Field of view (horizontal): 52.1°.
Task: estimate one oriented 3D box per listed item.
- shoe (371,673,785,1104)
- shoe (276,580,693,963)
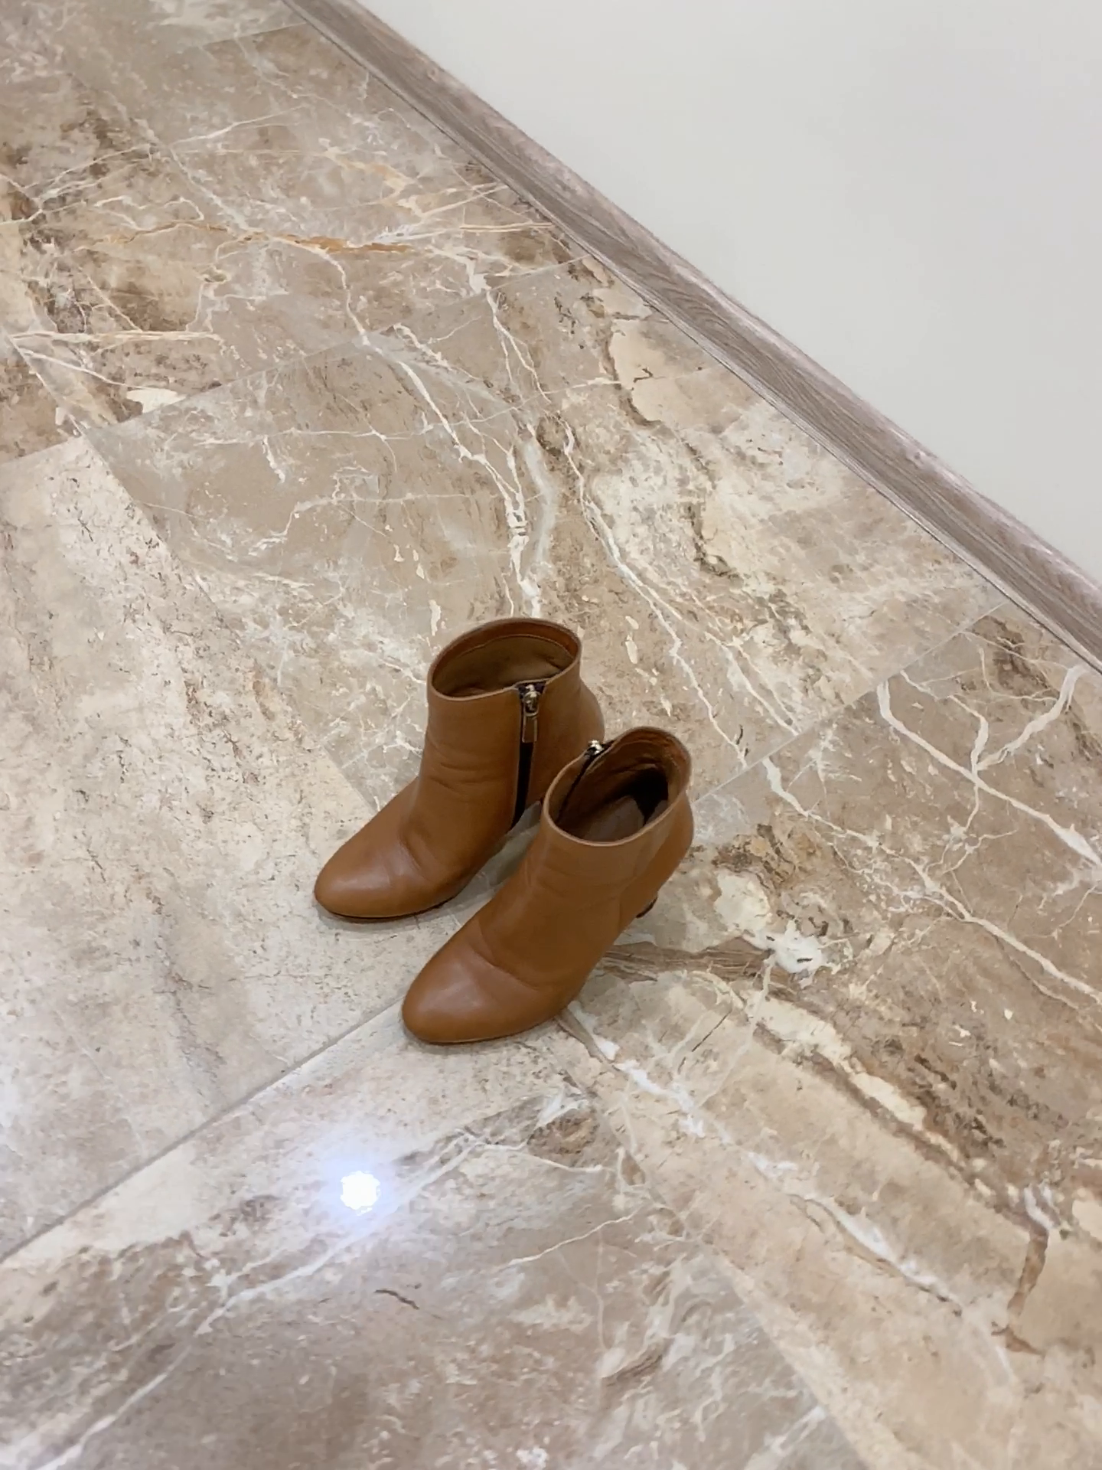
[{"bbox_3d":[0.010,0.092,0.666,0.210,0.175,0.090,-30,64,-25],"label":"shoe"},{"bbox_3d":[-0.044,0.026,0.717,0.220,0.185,0.090,-20,60,-20],"label":"shoe"}]
